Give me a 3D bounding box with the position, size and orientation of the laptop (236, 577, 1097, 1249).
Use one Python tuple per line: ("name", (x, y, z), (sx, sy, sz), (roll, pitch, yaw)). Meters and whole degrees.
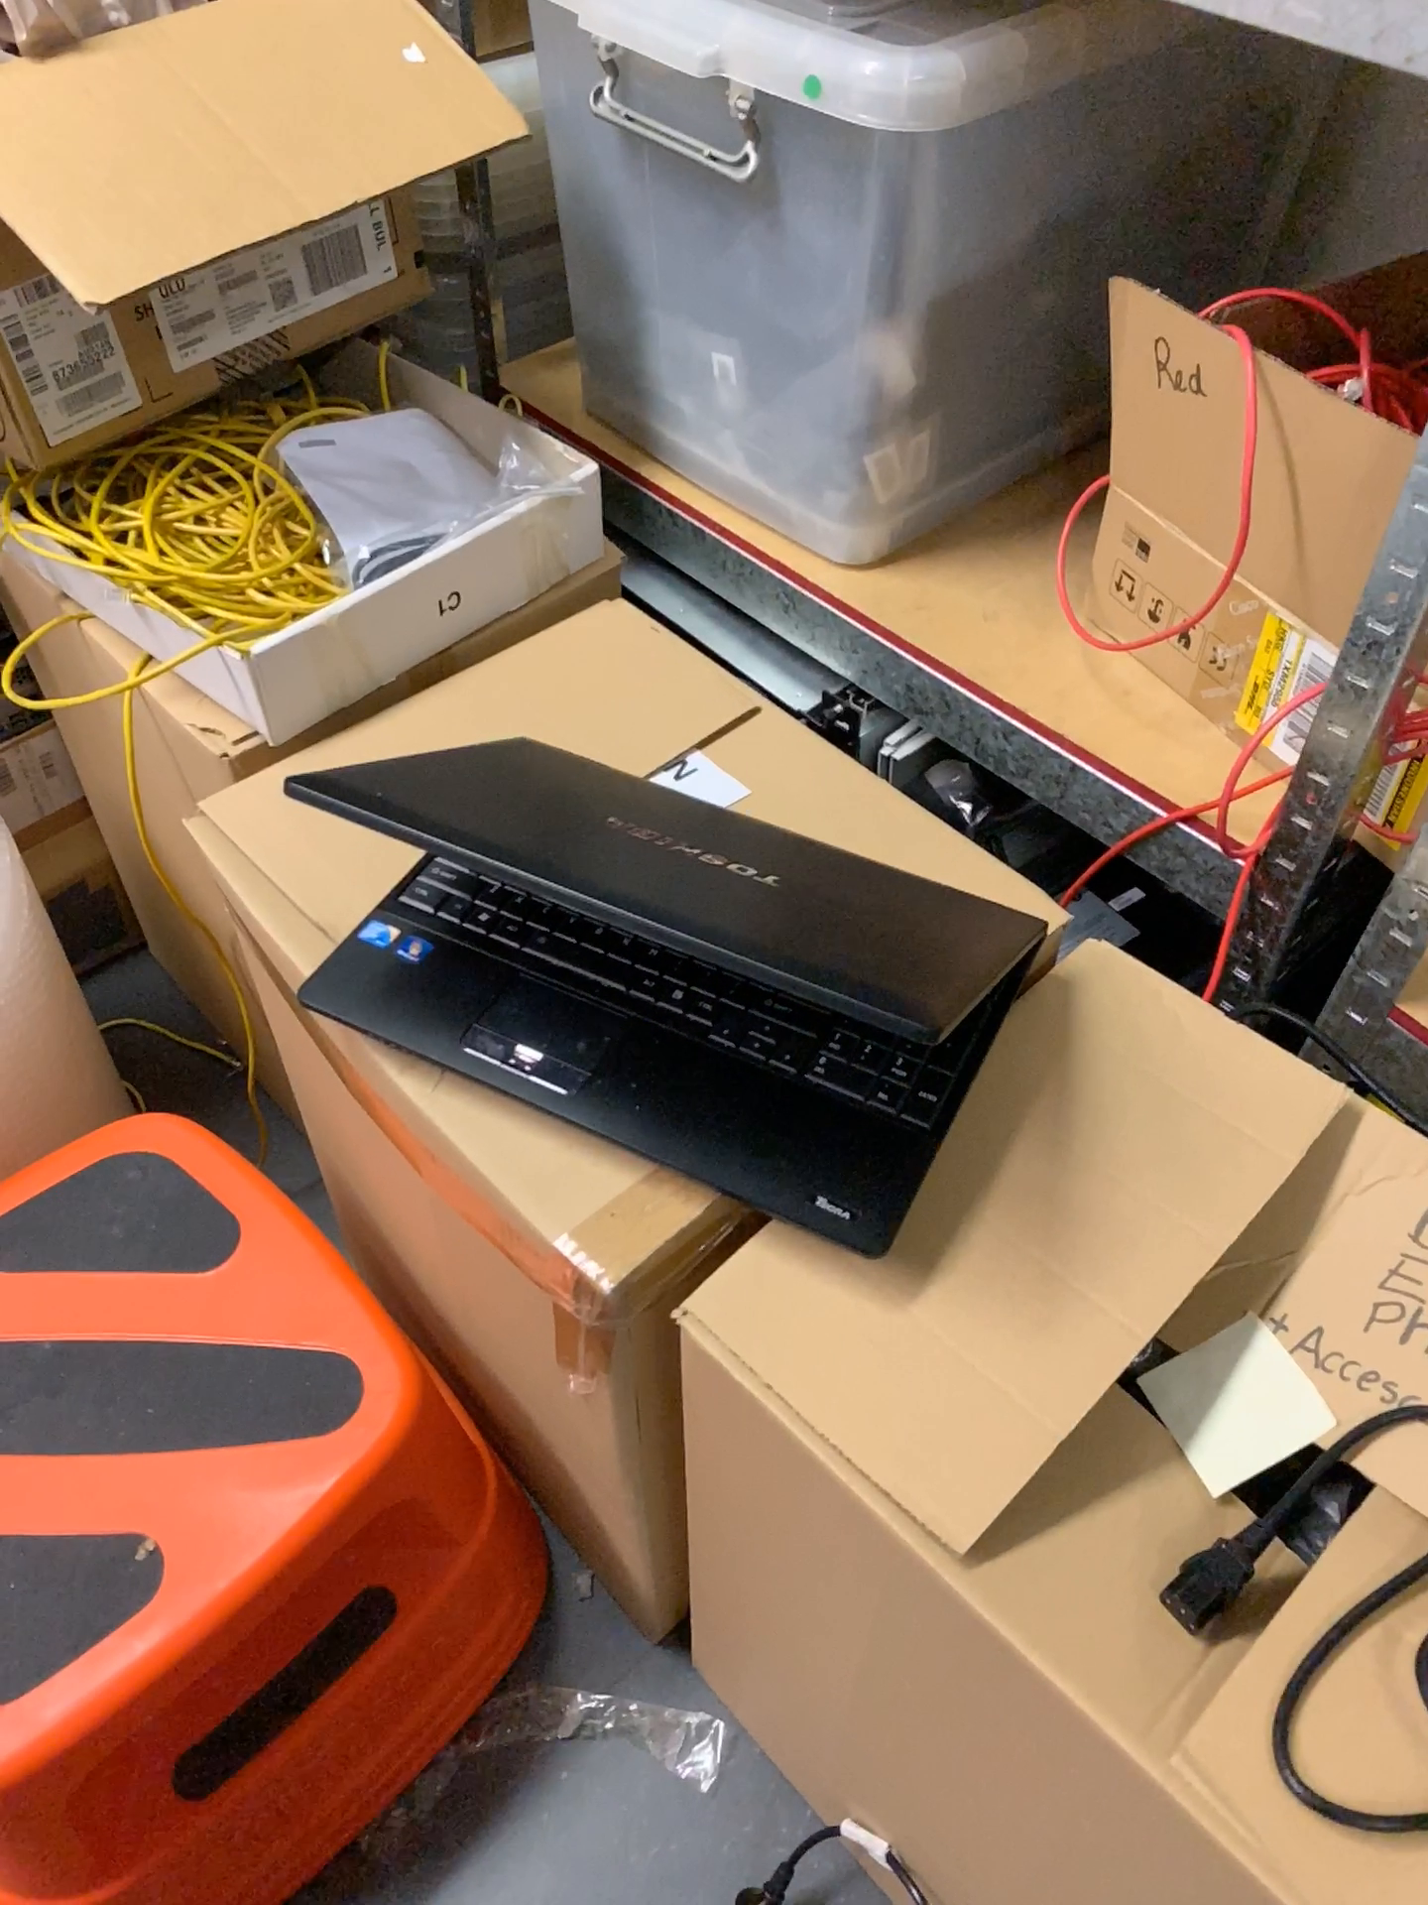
("laptop", (-0.020, -0.035, 0.784), (0.355, 0.135, 0.232), (21, 53, 16))
